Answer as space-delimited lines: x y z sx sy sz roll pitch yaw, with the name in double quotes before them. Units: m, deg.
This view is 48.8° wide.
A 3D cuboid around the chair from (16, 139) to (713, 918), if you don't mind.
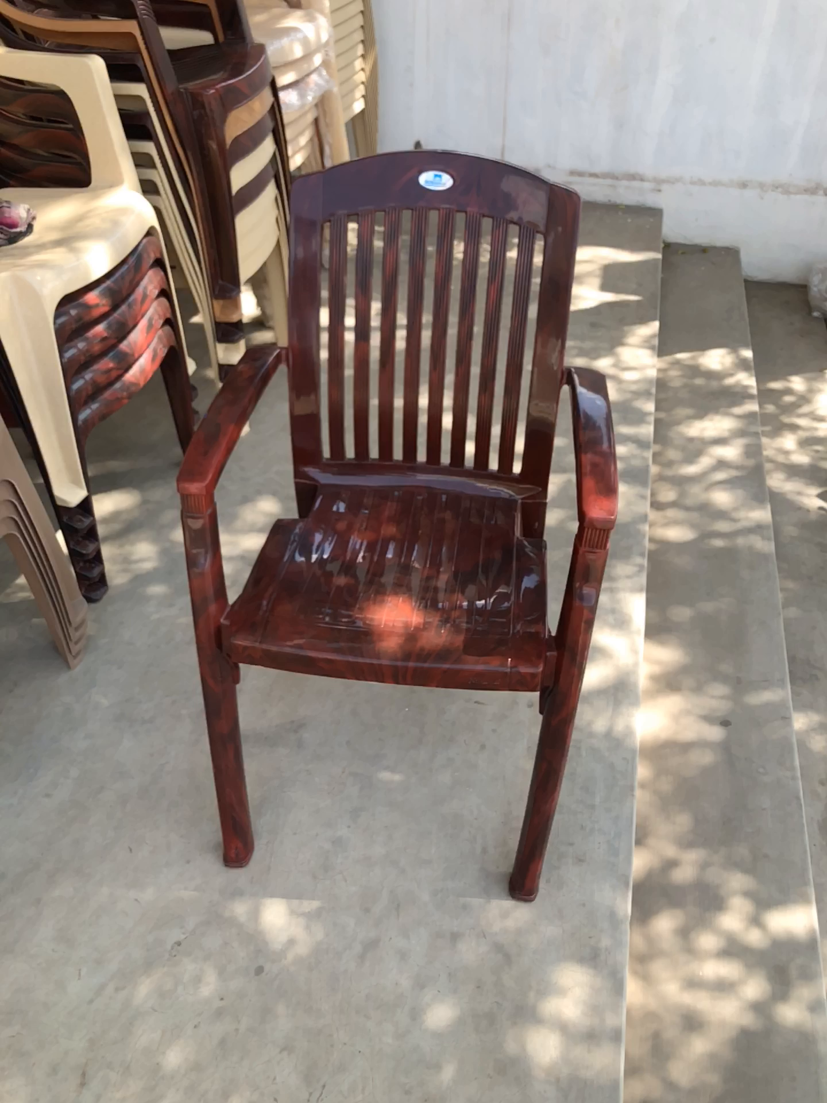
"chair" -0.014 -0.039 1.329 0.610 0.855 0.694 3 40 5
